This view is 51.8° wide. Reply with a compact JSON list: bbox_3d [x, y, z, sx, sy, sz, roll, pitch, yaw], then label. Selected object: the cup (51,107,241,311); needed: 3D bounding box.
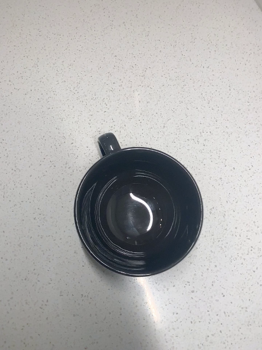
[{"bbox_3d":[0.008,0.026,0.240,0.110,0.060,0.130,-19,76,-8],"label":"cup"}]
